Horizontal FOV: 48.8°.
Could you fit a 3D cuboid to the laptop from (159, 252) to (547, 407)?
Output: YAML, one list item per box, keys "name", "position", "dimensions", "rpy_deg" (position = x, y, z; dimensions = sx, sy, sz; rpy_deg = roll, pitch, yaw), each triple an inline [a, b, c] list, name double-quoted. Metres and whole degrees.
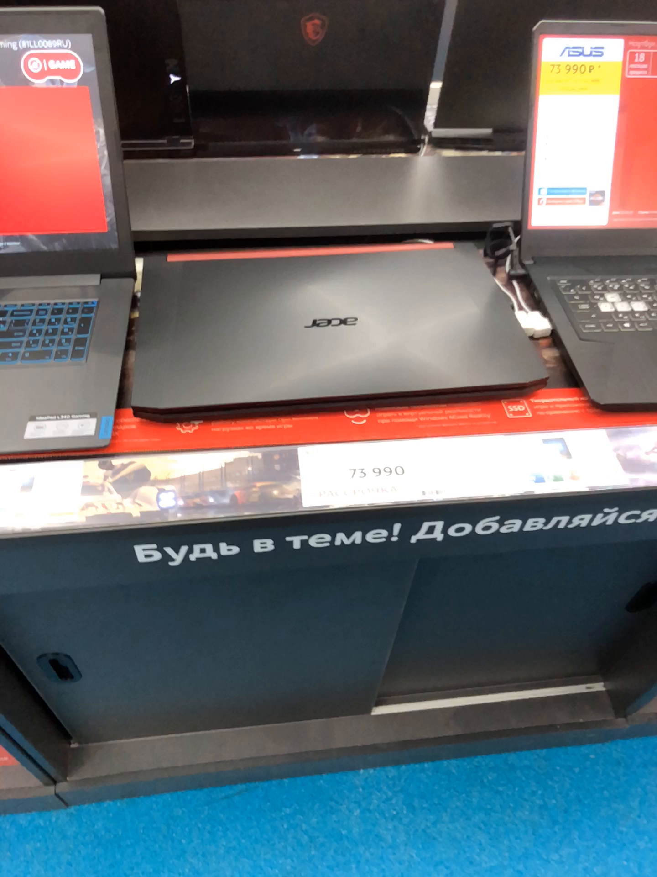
- name: "laptop"
  position: [0.009, -0.128, 0.771]
  dimensions: [0.370, 0.002, 0.256]
  rpy_deg: [-4, 43, -9]
